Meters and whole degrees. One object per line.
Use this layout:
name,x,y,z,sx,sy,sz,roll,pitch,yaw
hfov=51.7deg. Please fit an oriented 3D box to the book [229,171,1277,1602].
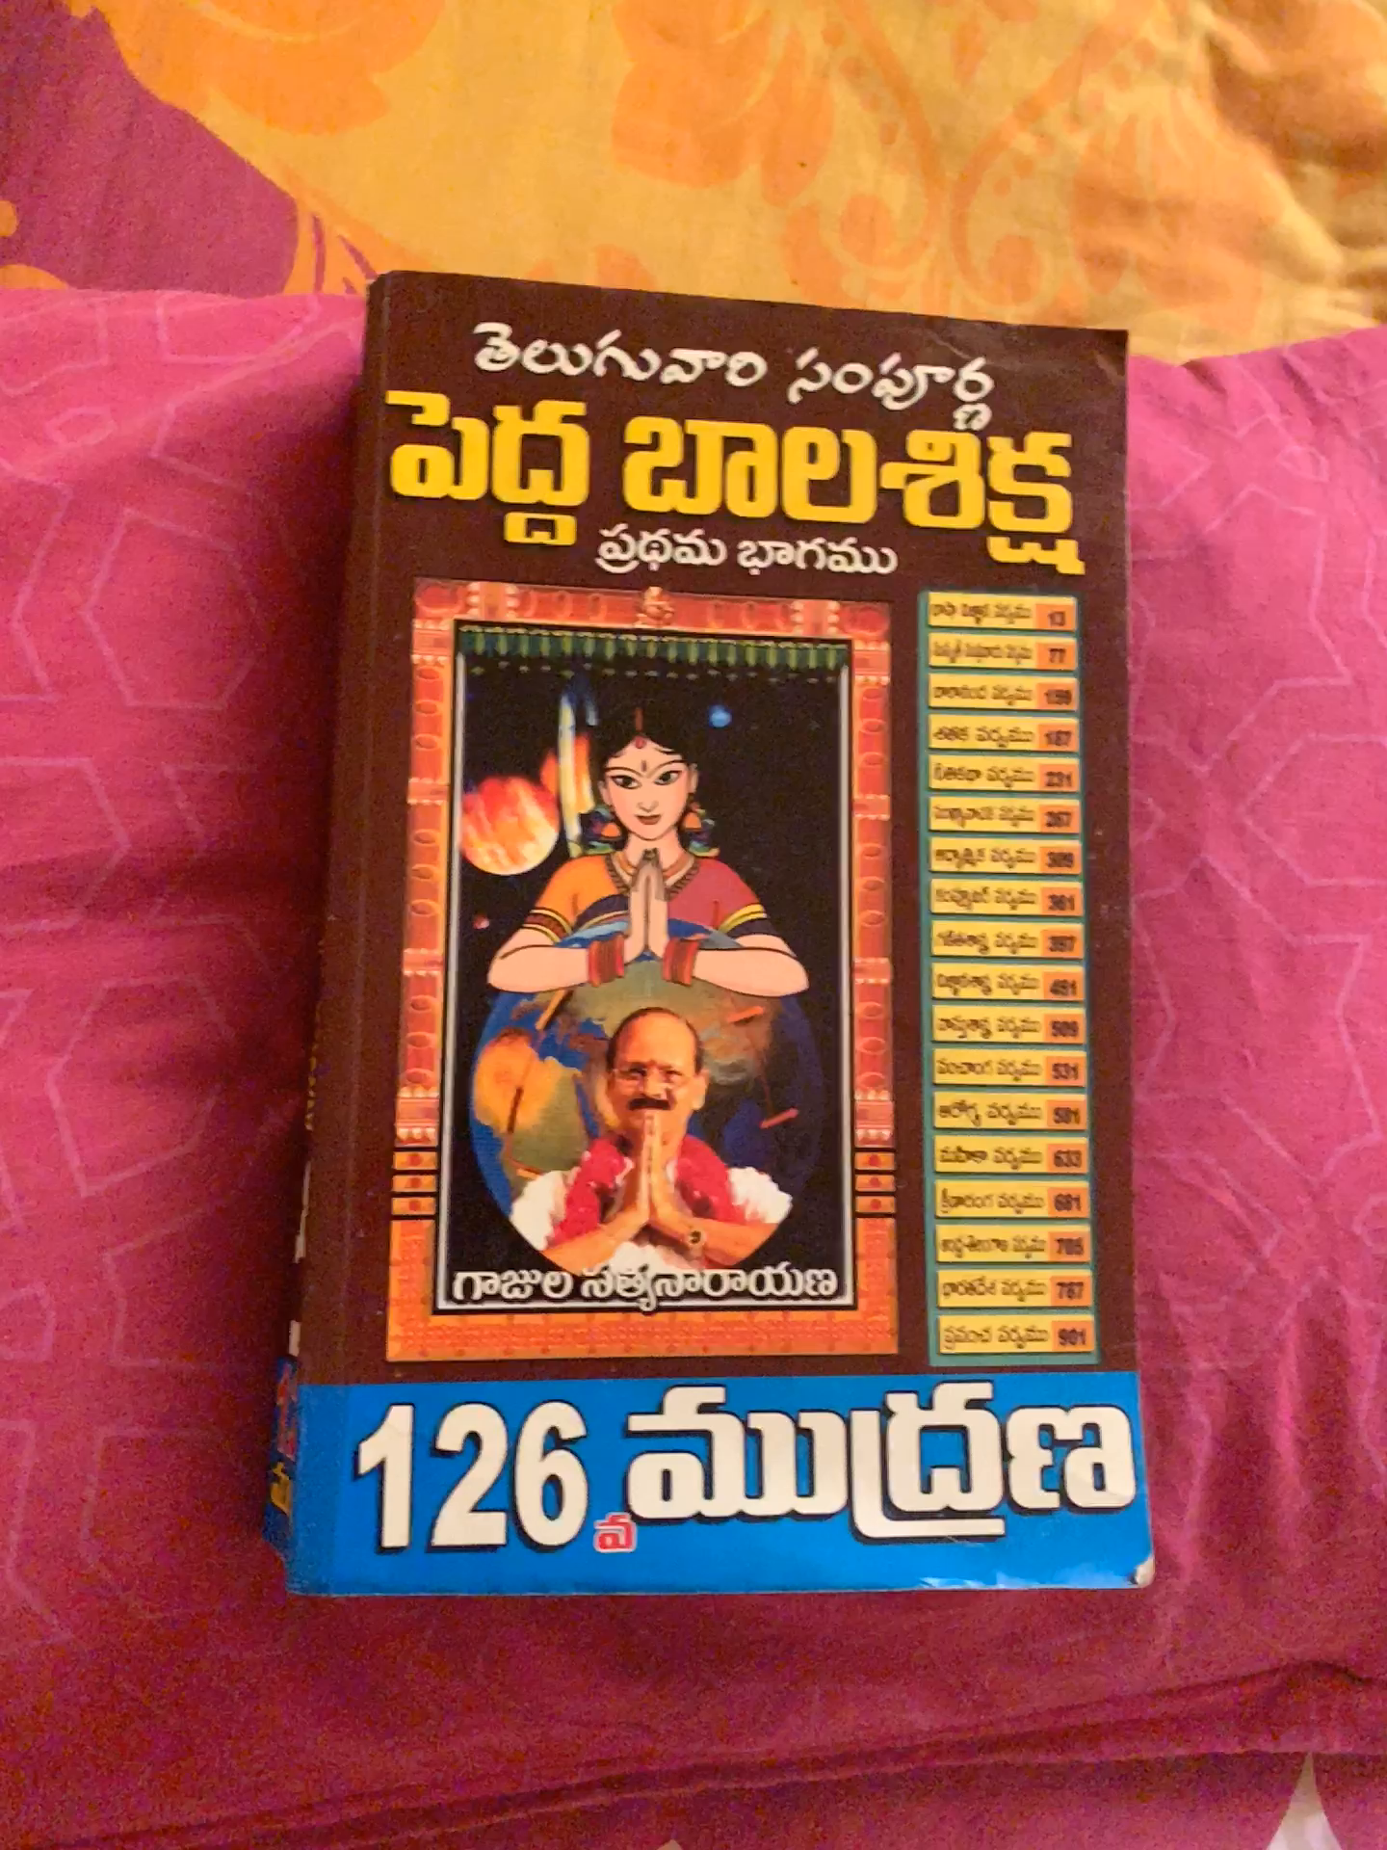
book,0.014,-0.010,0.289,0.180,0.050,0.260,2,81,-6
